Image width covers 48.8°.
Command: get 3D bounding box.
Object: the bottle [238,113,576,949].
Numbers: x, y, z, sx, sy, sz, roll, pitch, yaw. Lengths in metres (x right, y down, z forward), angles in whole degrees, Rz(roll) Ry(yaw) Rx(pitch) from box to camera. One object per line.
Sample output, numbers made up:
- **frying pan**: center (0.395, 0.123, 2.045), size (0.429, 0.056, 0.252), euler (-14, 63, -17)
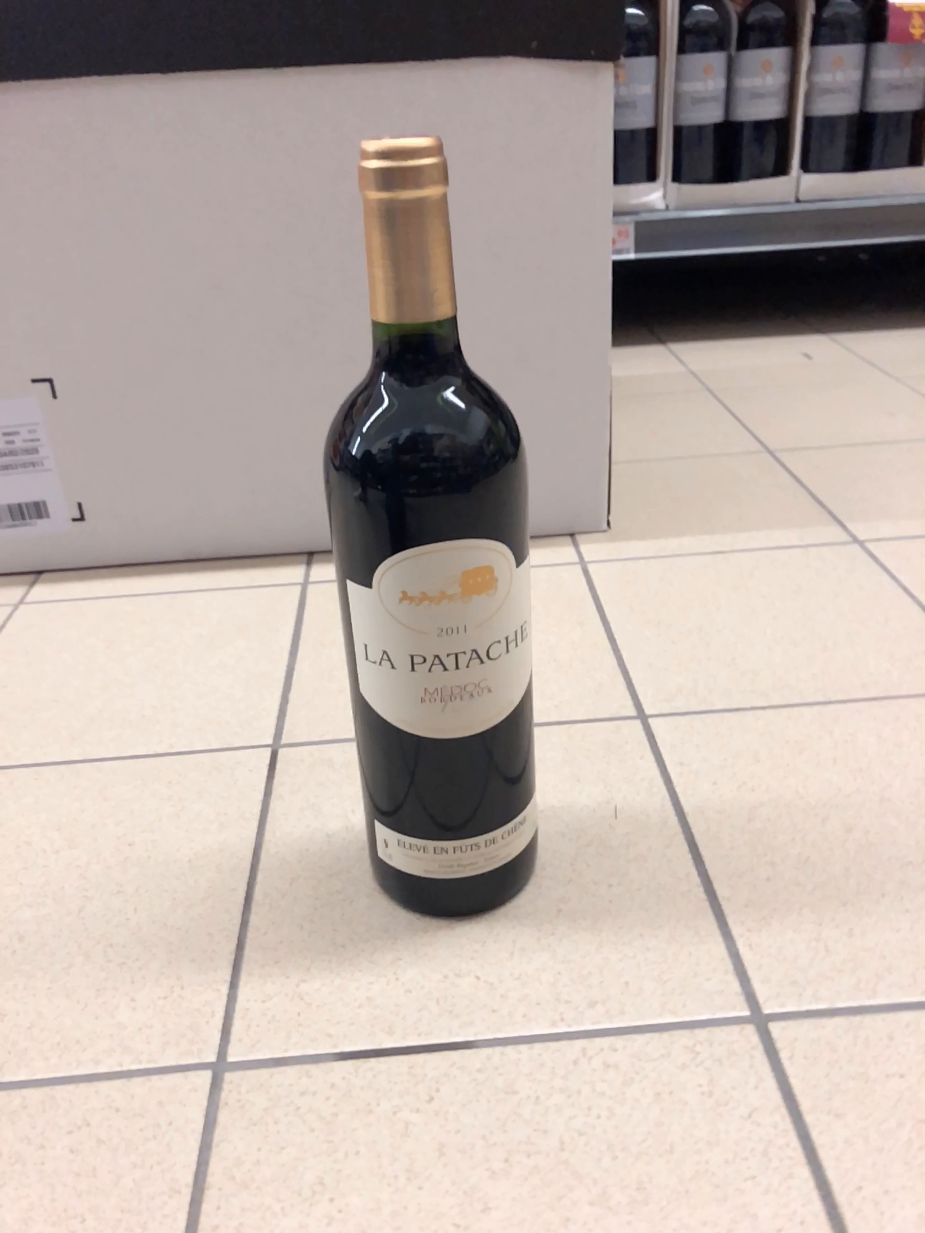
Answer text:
- **bottle**: center (-0.014, -0.022, 0.377), size (0.090, 0.288, 0.080), euler (-9, 28, -10)
